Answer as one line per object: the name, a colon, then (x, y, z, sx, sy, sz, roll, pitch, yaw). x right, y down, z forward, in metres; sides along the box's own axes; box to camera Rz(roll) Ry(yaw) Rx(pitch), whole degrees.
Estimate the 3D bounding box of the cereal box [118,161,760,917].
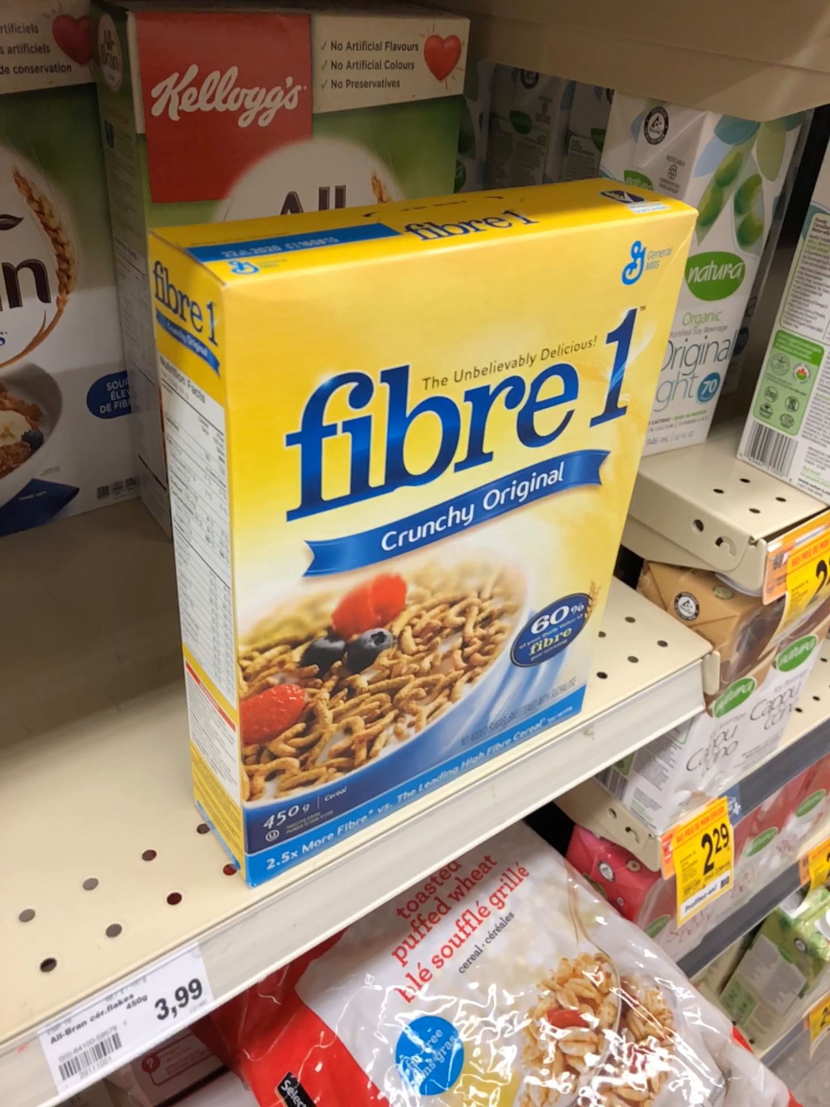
cereal box: (0.011, -0.007, 0.359, 0.211, 0.248, 0.060, -20, 43, -32)
